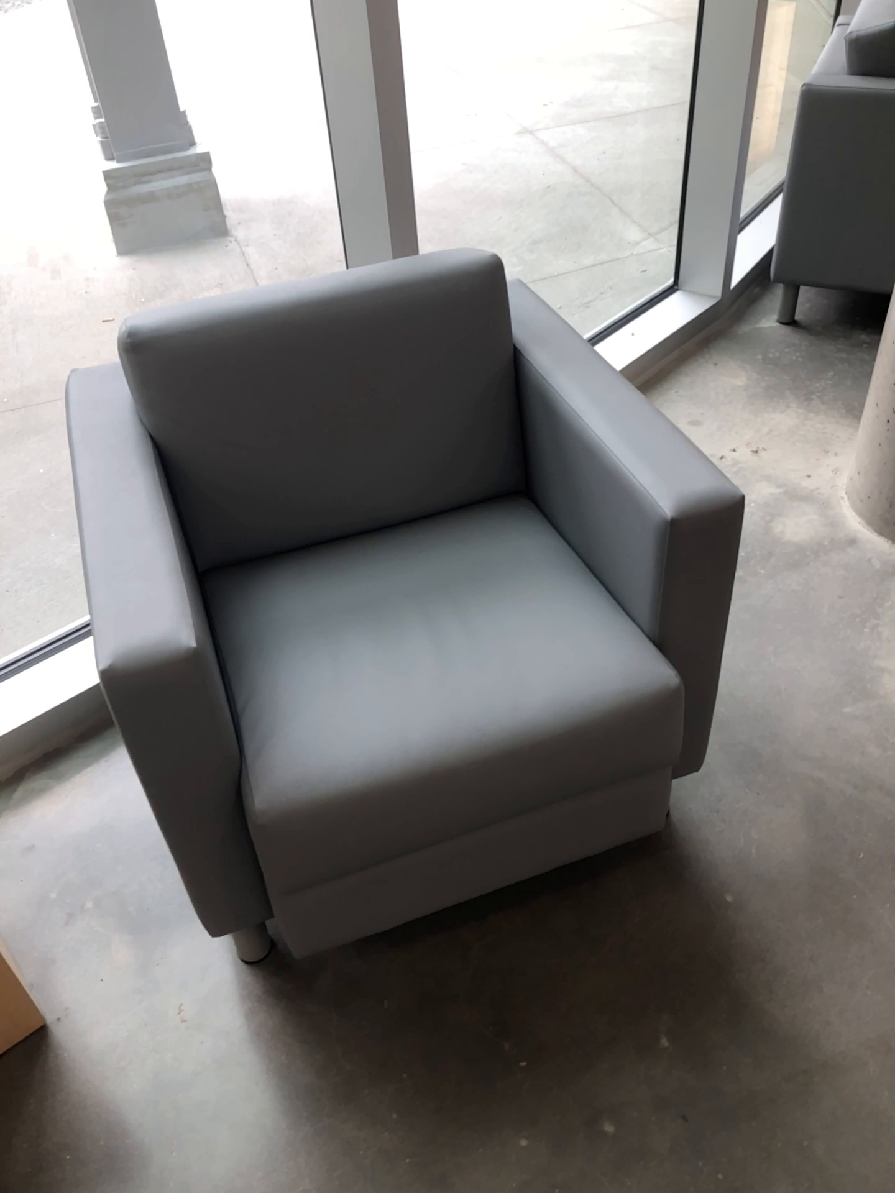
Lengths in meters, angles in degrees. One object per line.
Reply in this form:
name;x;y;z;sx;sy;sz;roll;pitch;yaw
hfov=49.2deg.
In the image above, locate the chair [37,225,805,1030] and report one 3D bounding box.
chair;-0.091;-0.012;1.470;0.770;0.695;0.785;-16;42;-13
